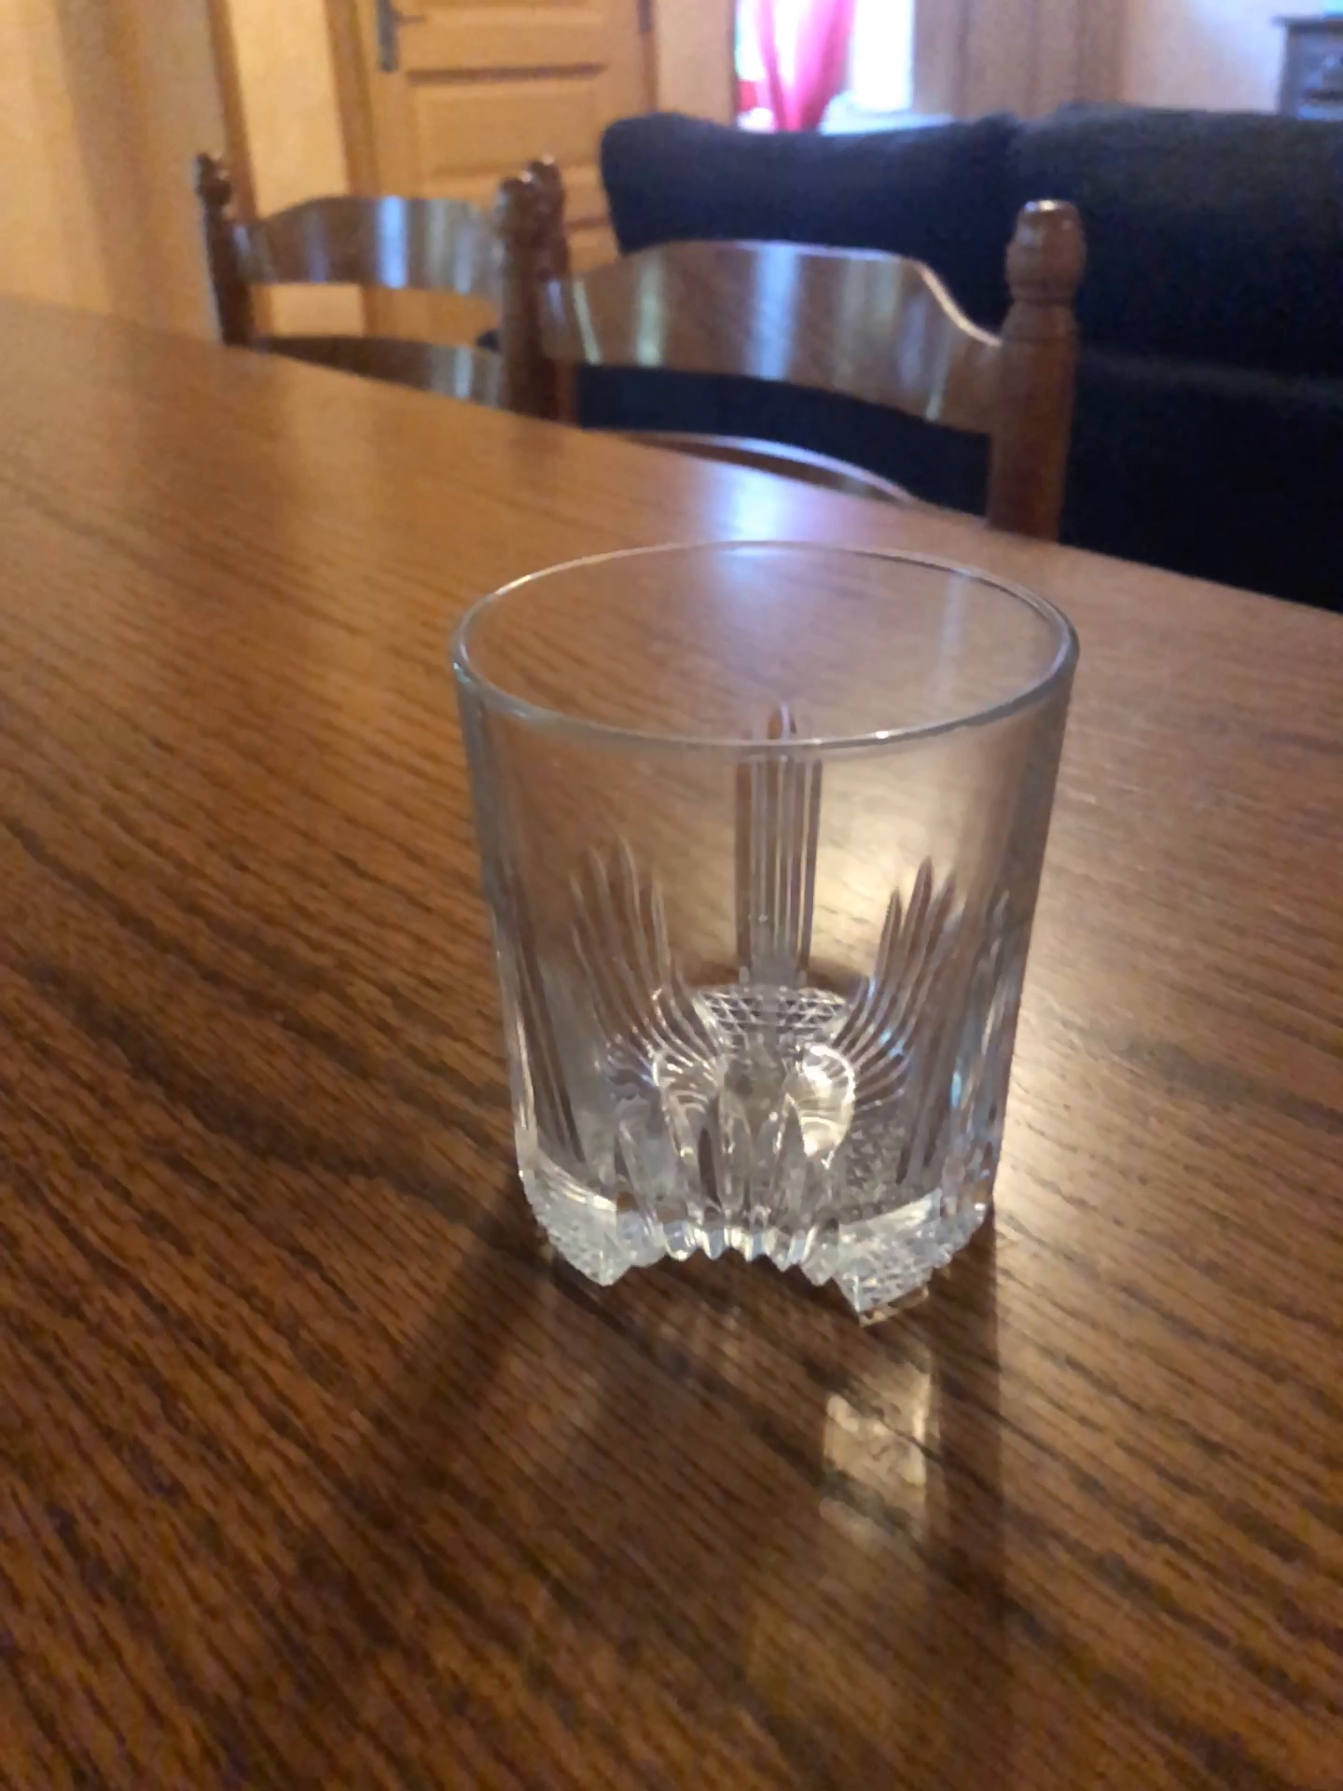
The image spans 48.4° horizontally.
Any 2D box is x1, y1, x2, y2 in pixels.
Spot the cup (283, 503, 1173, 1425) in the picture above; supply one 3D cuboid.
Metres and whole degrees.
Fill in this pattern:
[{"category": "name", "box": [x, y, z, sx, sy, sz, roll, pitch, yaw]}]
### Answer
[{"category": "cup", "box": [0.009, 0.000, 0.214, 0.084, 0.084, 0.080, -1, 28, 1]}]
